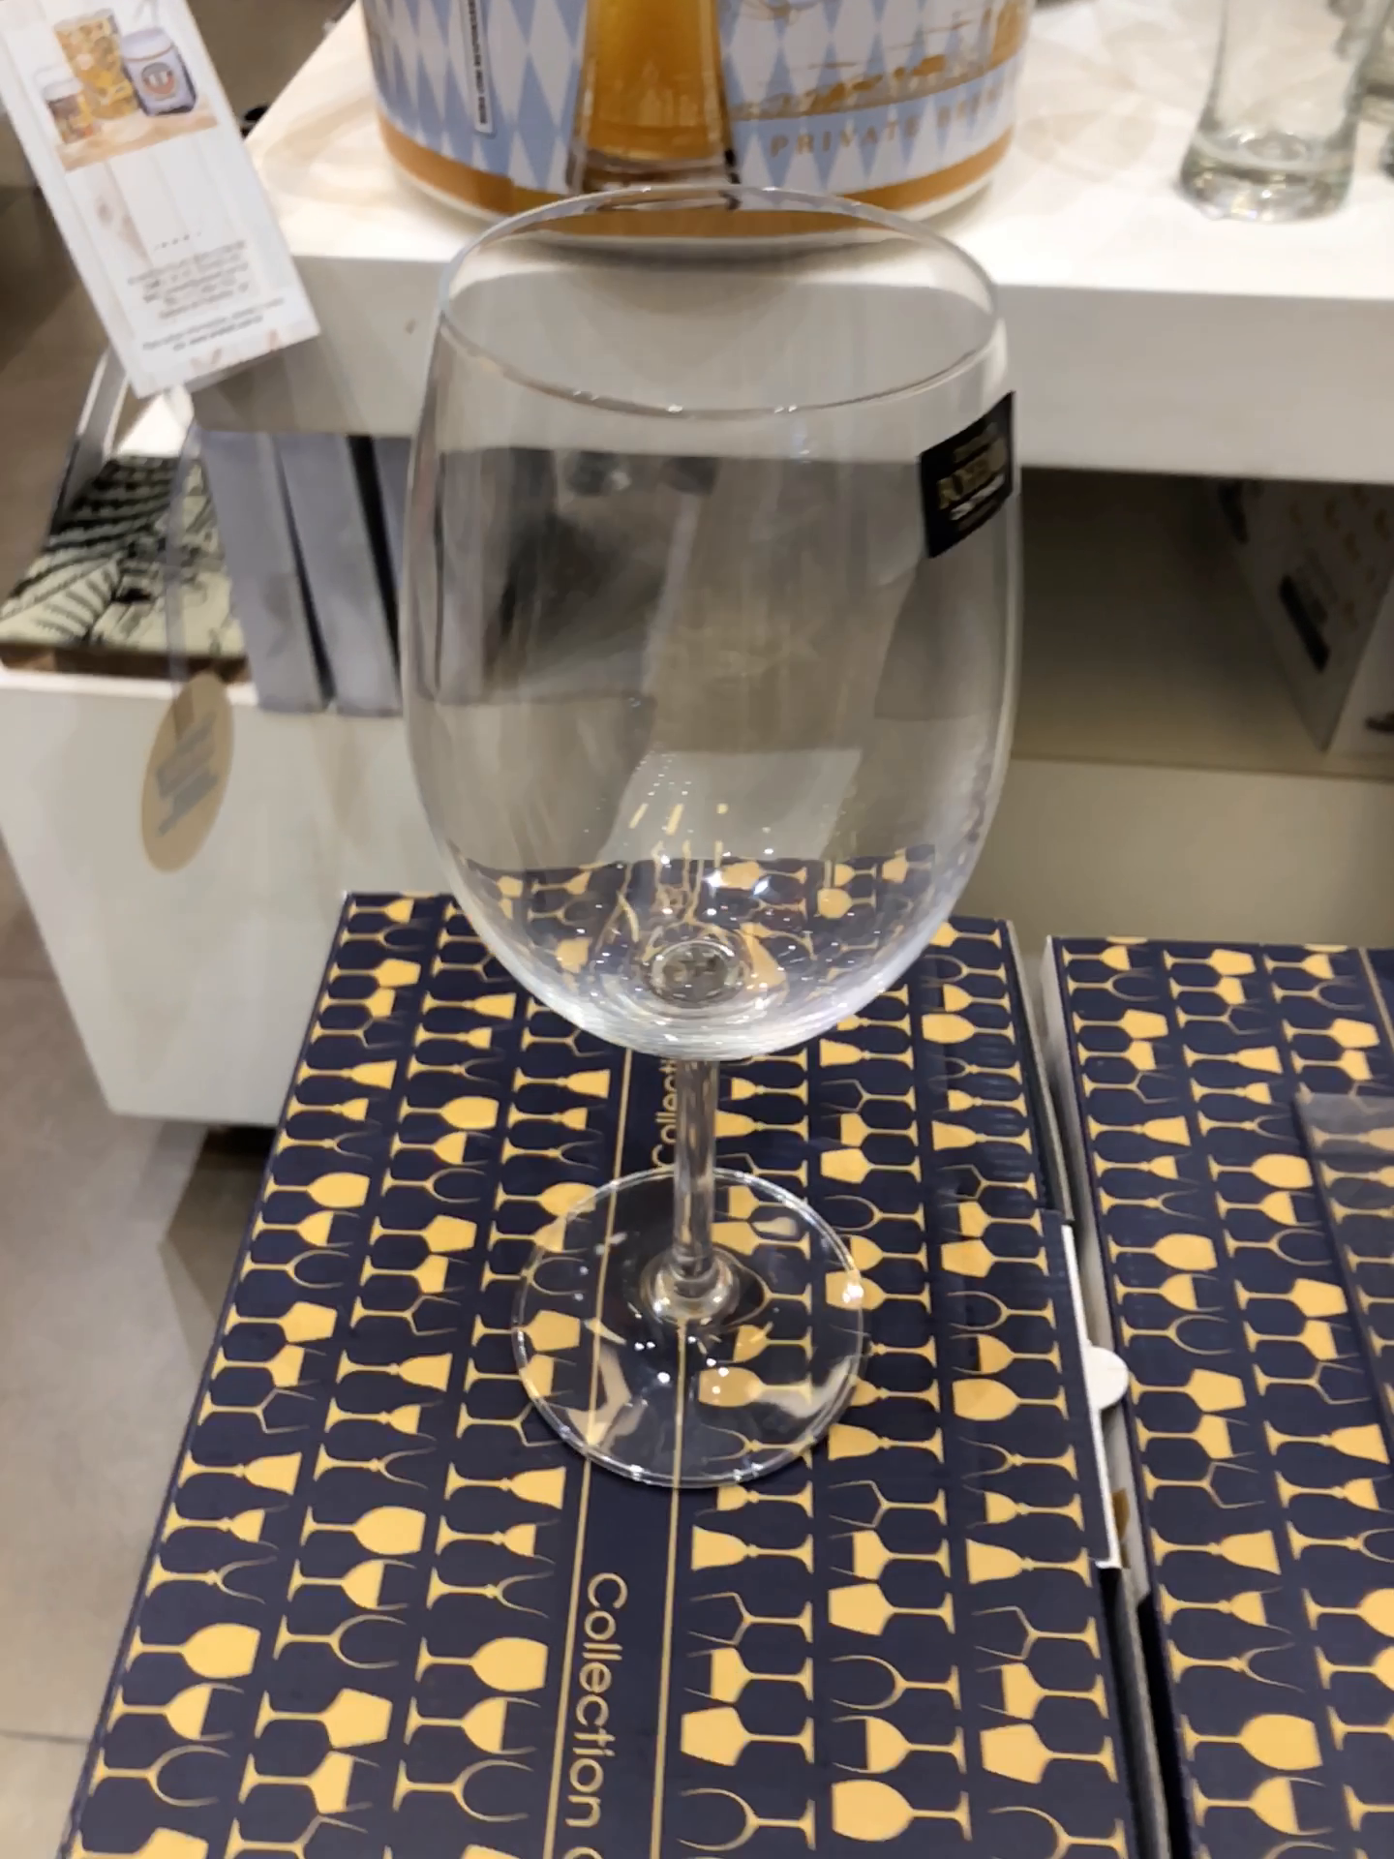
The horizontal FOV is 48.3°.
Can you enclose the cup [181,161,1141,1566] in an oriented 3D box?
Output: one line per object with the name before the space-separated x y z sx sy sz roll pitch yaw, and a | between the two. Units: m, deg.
cup | 0.000 0.006 0.249 0.090 0.208 0.091 1 44 -1
